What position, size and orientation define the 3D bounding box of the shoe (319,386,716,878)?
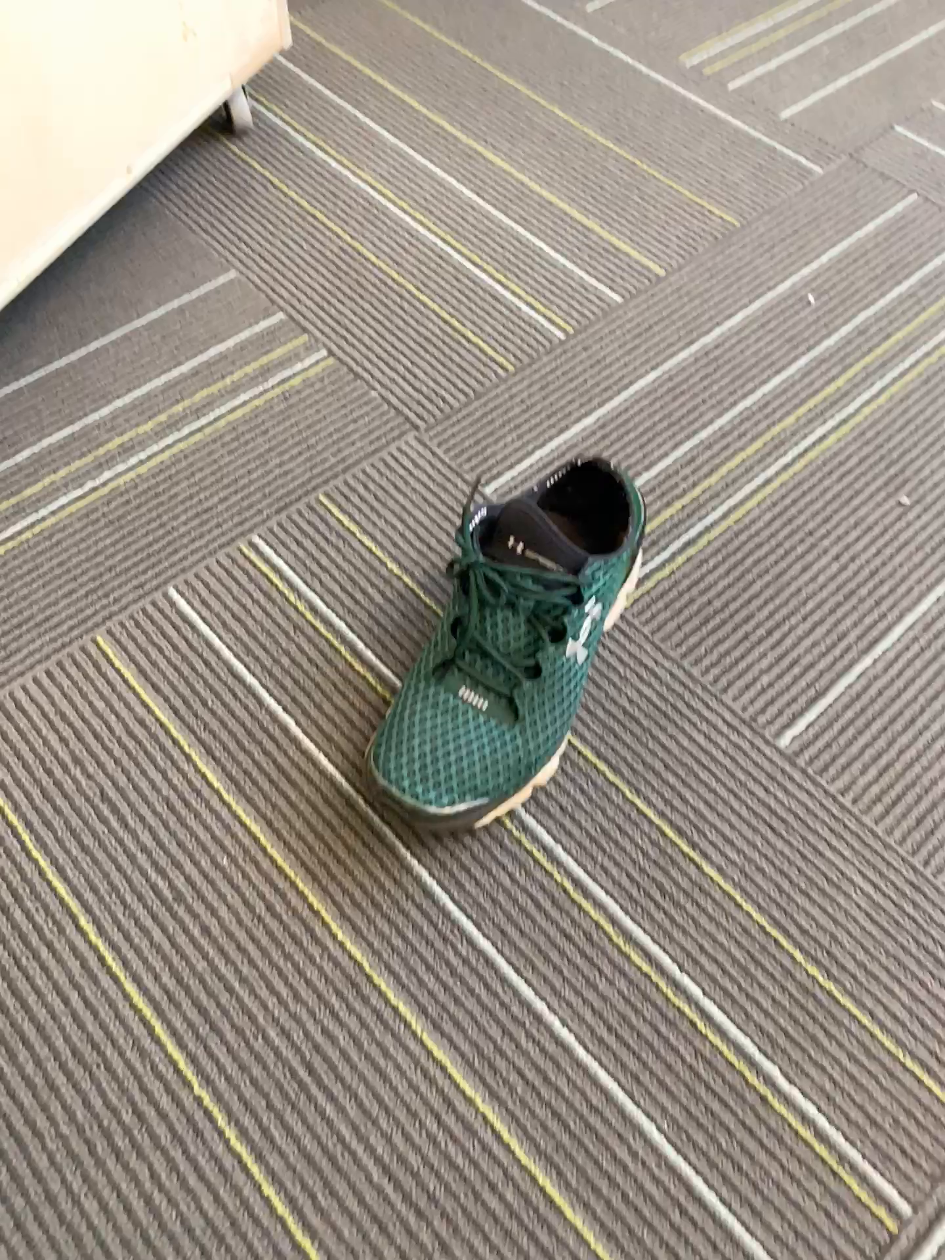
[{"bbox_3d":[0.038,-0.007,0.663,0.120,0.120,0.301,27,61,14],"label":"shoe"}]
